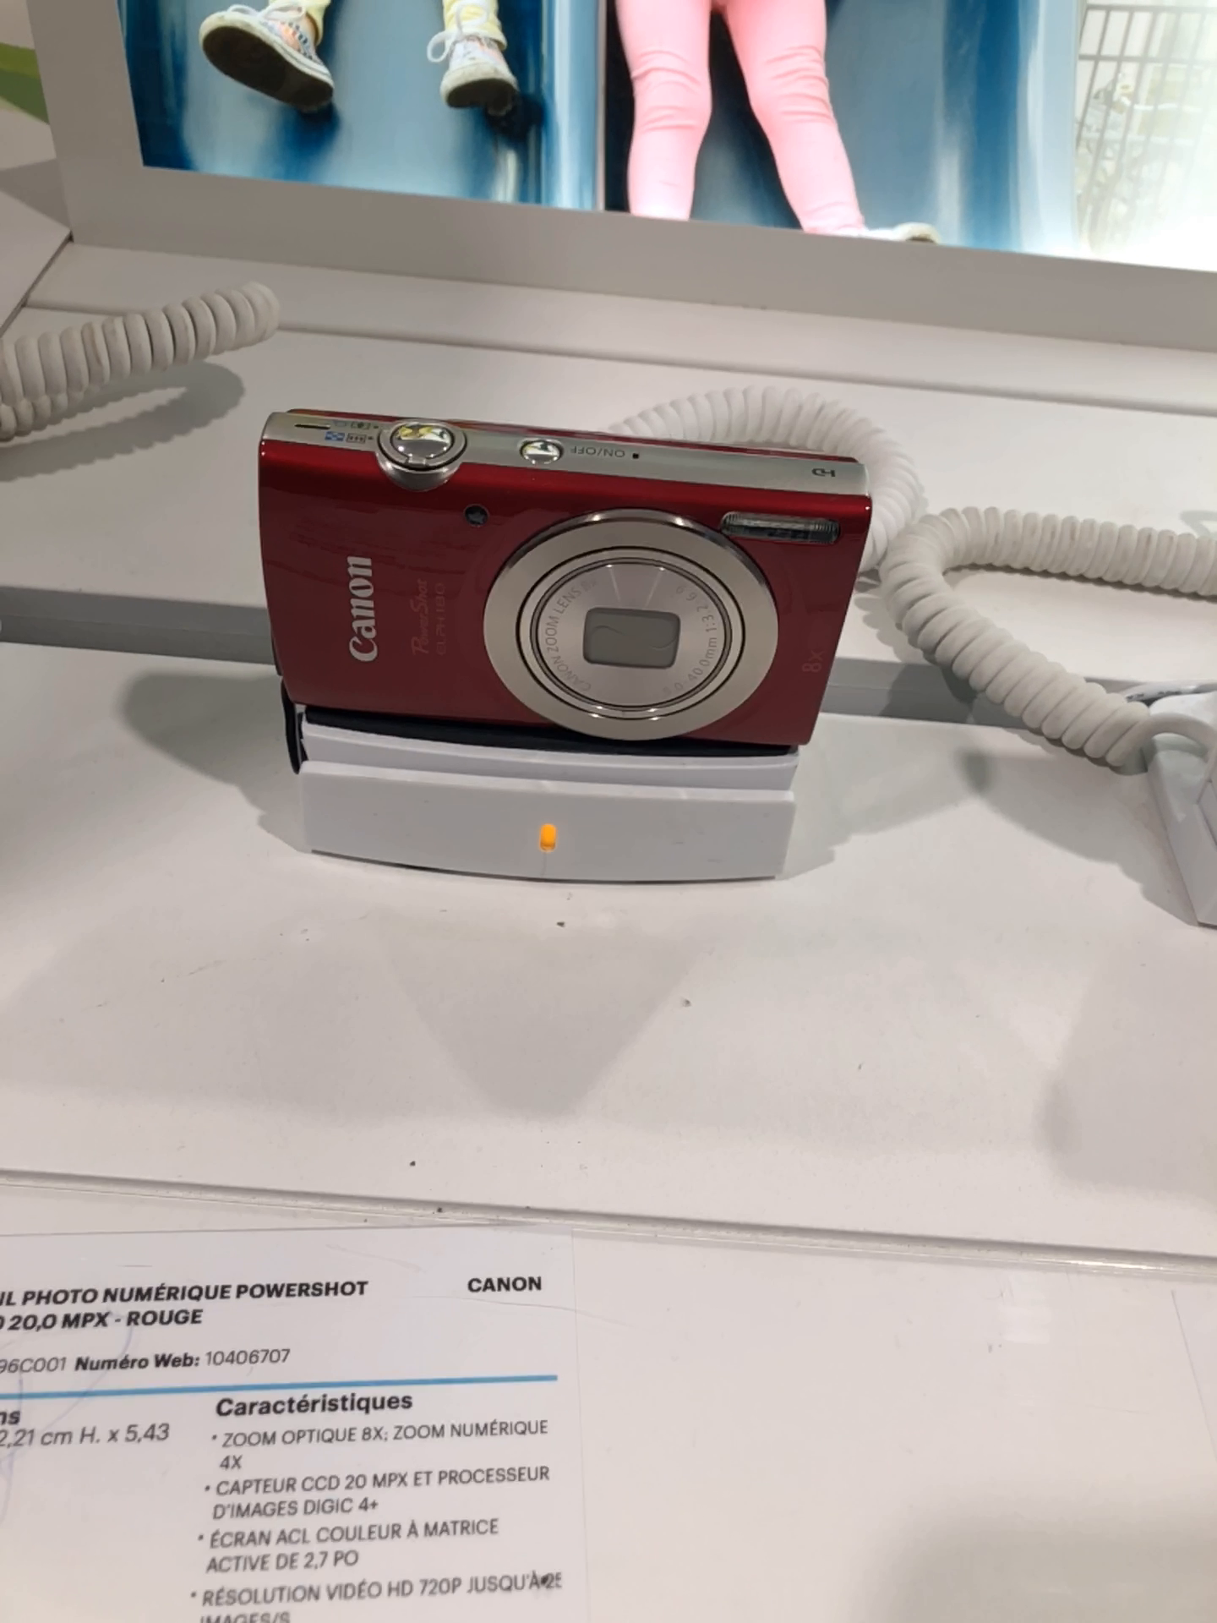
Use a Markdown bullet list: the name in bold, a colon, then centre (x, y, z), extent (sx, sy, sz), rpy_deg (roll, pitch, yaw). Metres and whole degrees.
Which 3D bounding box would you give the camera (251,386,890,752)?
- **camera**: centre (-0.007, -0.038, 0.222), extent (0.092, 0.050, 0.022), rpy_deg (3, 45, -3)
